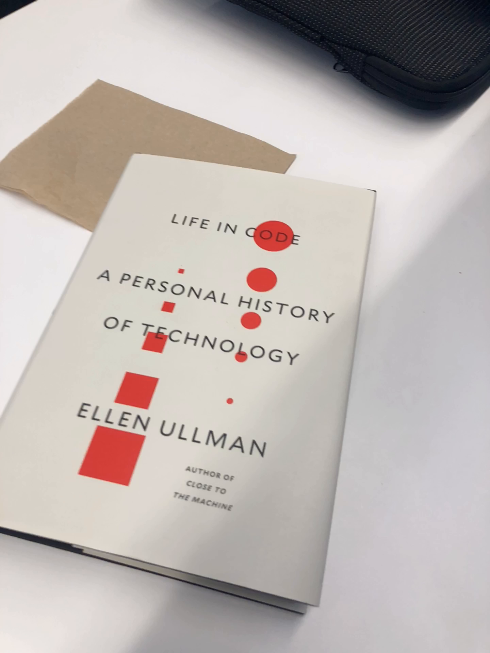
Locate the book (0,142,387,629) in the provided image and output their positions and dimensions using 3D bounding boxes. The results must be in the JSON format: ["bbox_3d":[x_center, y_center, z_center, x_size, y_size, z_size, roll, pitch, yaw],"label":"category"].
[{"bbox_3d":[-0.025,0.004,0.269,0.160,0.030,0.220,12,58,8],"label":"book"}]
